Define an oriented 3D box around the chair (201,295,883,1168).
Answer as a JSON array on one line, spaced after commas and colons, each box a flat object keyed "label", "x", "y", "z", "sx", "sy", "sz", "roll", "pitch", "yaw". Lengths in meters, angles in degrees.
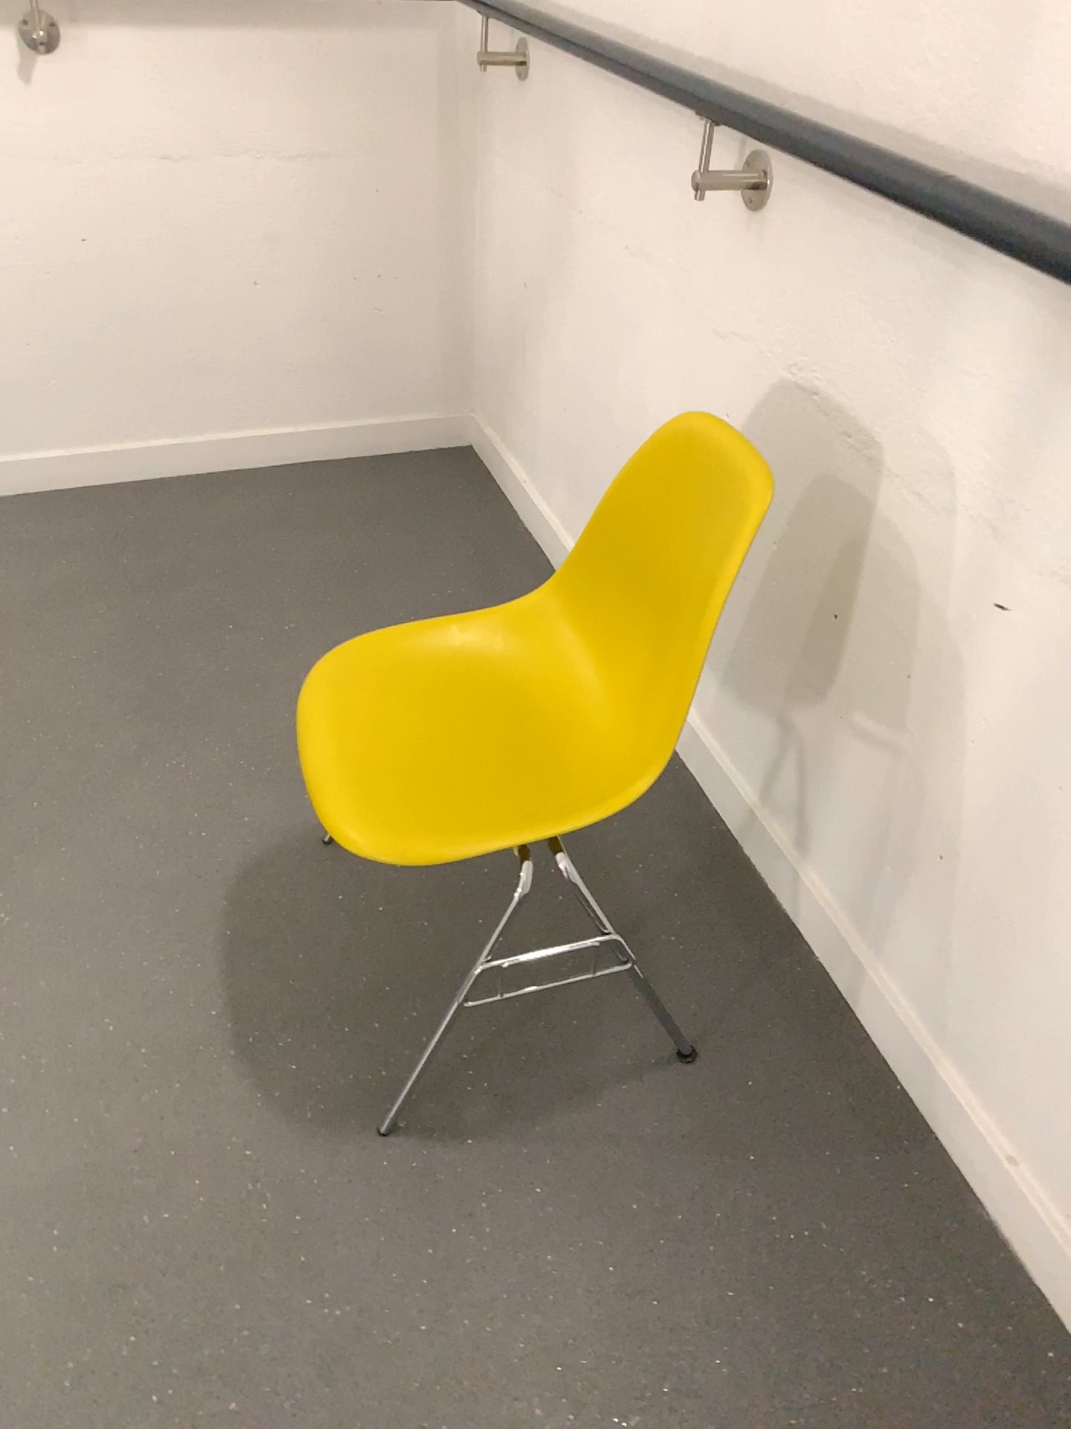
[{"label": "chair", "x": -0.063, "y": -0.002, "z": 1.394, "sx": 0.541, "sy": 0.822, "sz": 0.636, "roll": -10, "pitch": 40, "yaw": -17}]
